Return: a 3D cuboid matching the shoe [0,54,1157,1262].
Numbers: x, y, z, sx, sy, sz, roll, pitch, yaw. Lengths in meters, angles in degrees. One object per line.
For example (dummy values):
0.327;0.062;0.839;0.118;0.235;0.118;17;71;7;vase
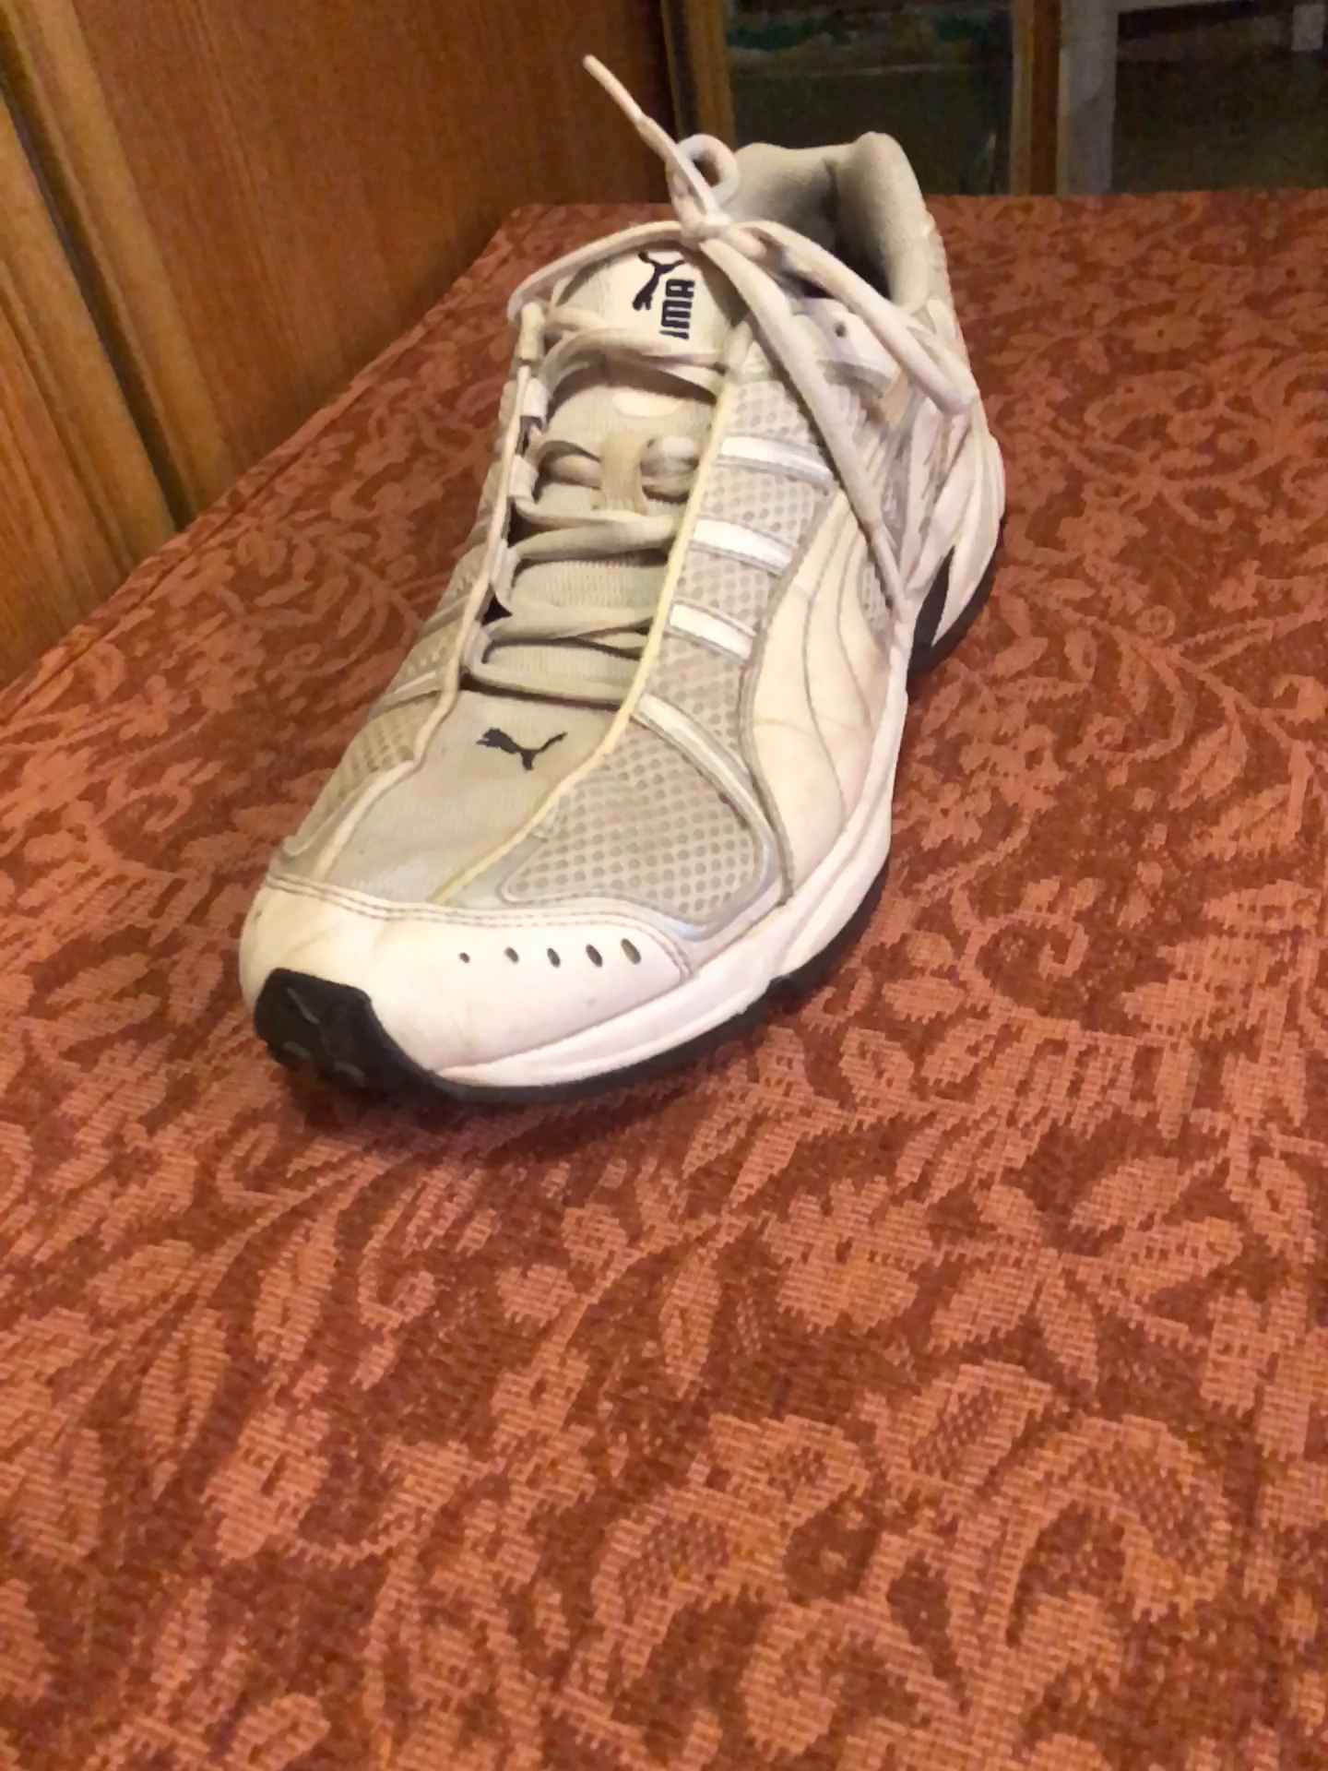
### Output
0.011;-0.082;0.319;0.120;0.099;0.291;11;45;25;shoe
